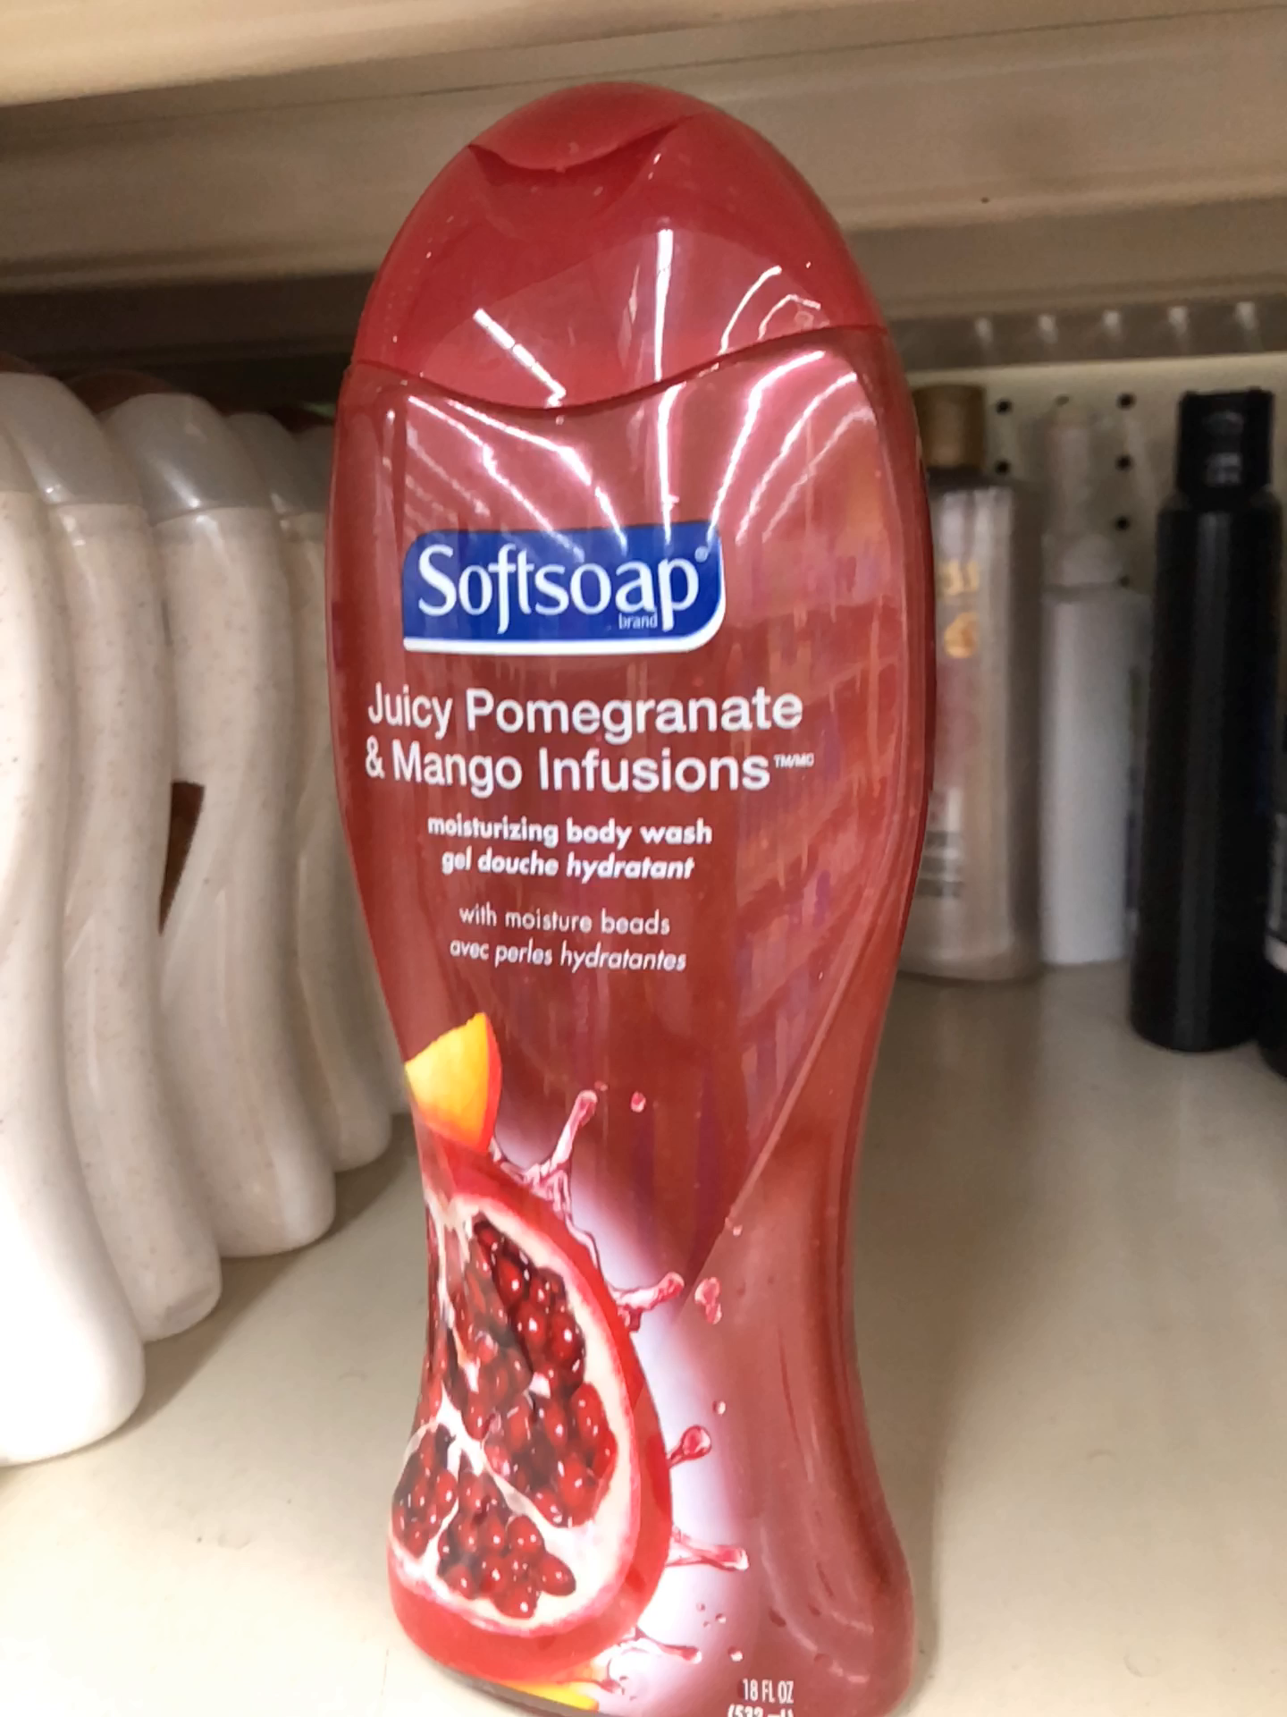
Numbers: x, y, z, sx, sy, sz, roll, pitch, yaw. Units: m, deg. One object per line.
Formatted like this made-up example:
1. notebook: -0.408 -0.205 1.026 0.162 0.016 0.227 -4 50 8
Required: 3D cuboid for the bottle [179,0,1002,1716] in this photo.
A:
1. bottle: -0.001 0.014 0.214 0.090 0.230 0.060 4 14 24
